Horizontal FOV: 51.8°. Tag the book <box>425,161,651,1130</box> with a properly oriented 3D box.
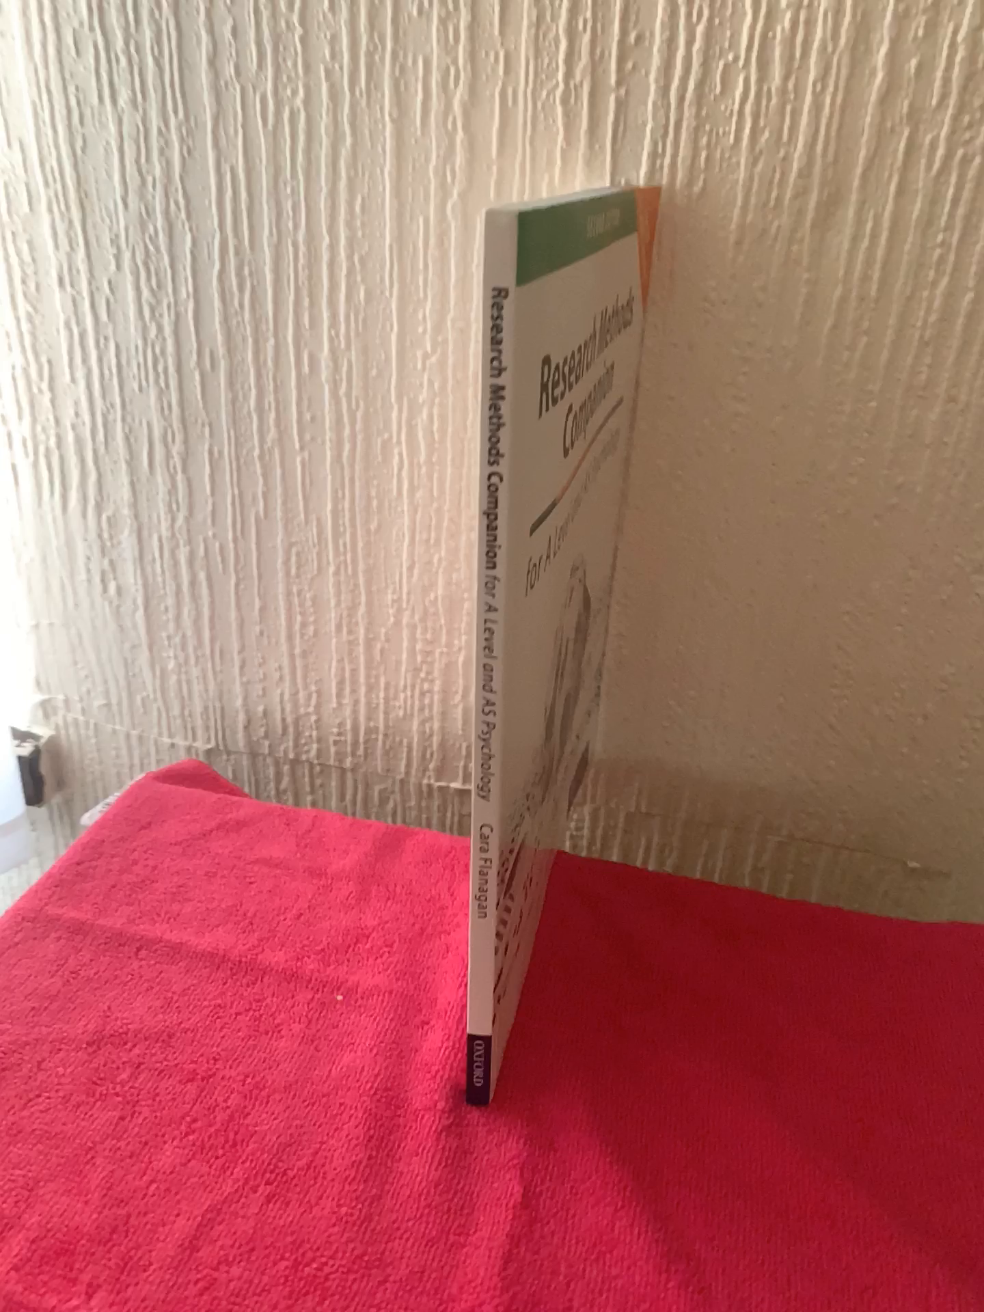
[{"bbox_3d":[0.027,-0.028,0.386,0.020,0.287,0.252,6,26,13],"label":"book"}]
